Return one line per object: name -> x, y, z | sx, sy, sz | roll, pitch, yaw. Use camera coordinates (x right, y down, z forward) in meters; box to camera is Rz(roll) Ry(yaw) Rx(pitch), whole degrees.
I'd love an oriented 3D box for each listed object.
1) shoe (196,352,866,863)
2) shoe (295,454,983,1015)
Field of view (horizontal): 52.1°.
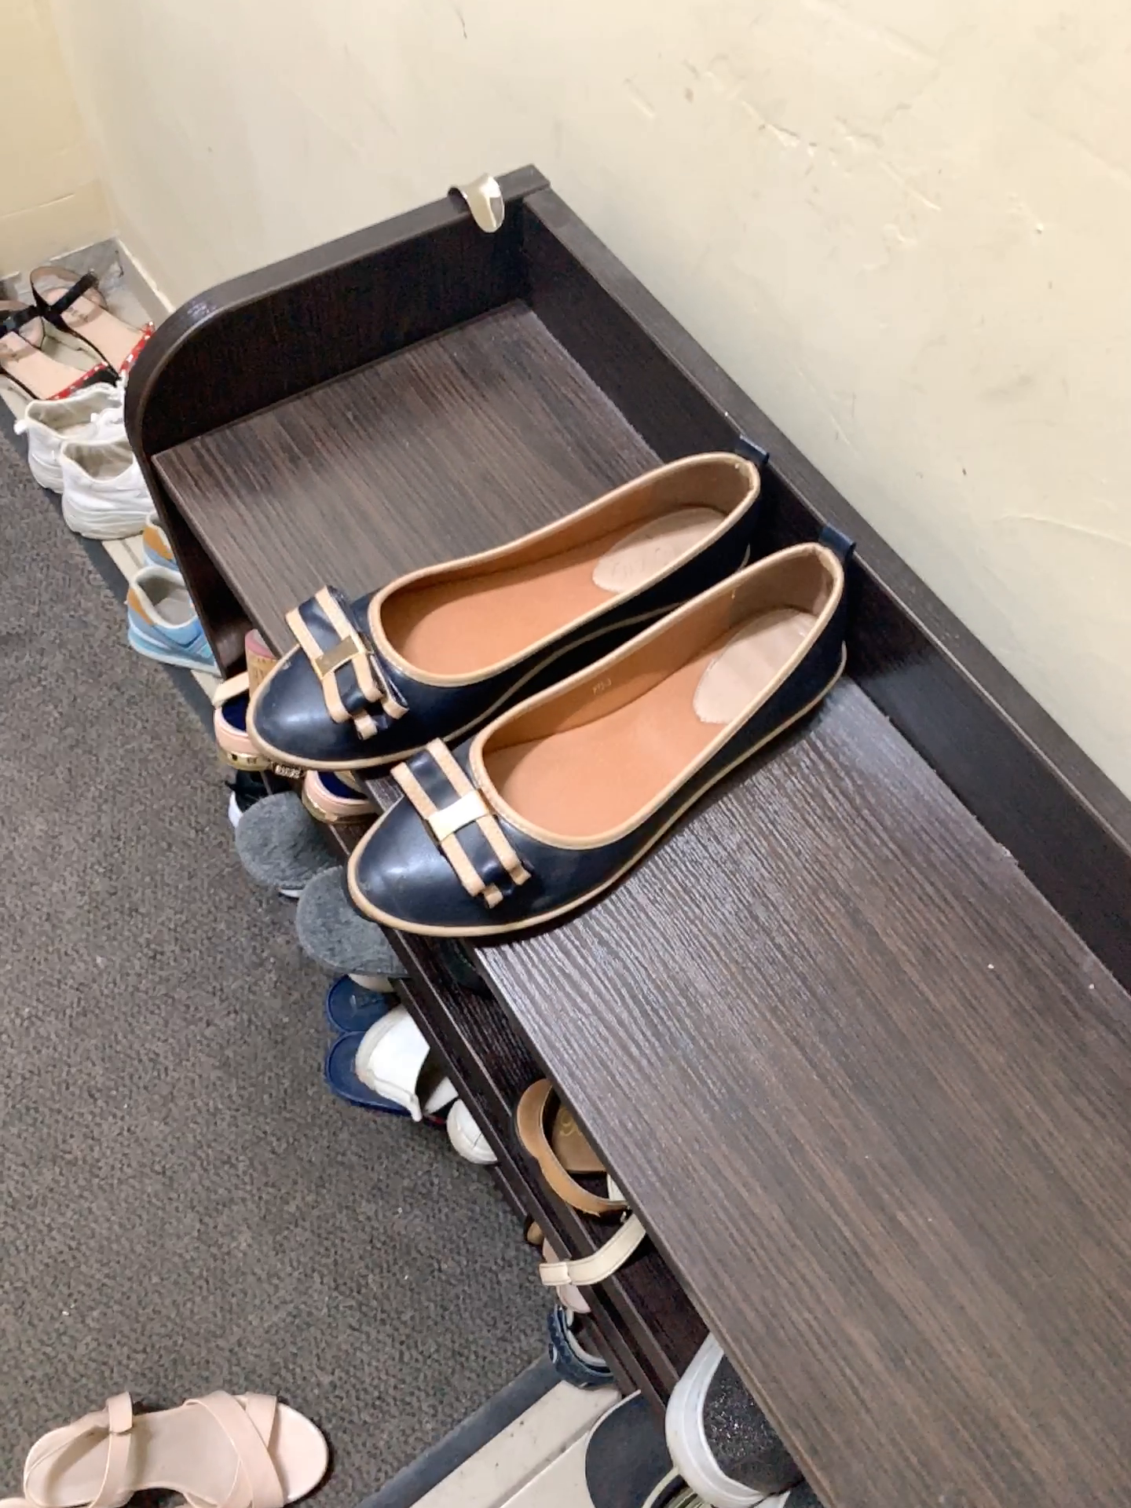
shoe -> -0.011, -0.074, 0.545 | 0.280, 0.100, 0.100 | -27, 62, -18
shoe -> 0.036, -0.015, 0.521 | 0.280, 0.100, 0.100 | -29, 62, -19
